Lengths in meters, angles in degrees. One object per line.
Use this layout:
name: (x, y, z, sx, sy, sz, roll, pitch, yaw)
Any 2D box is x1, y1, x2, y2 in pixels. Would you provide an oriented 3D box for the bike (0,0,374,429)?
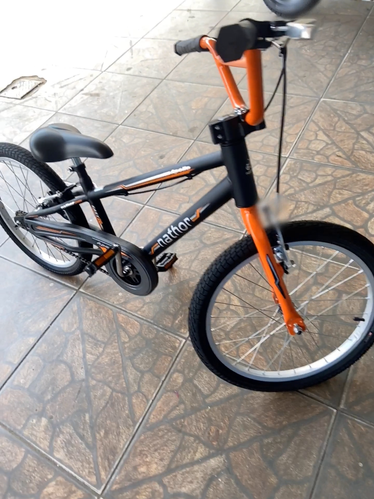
bike: (-0.132, -0.223, 1.055, 1.350, 0.979, 0.726, 14, 56, 19)
